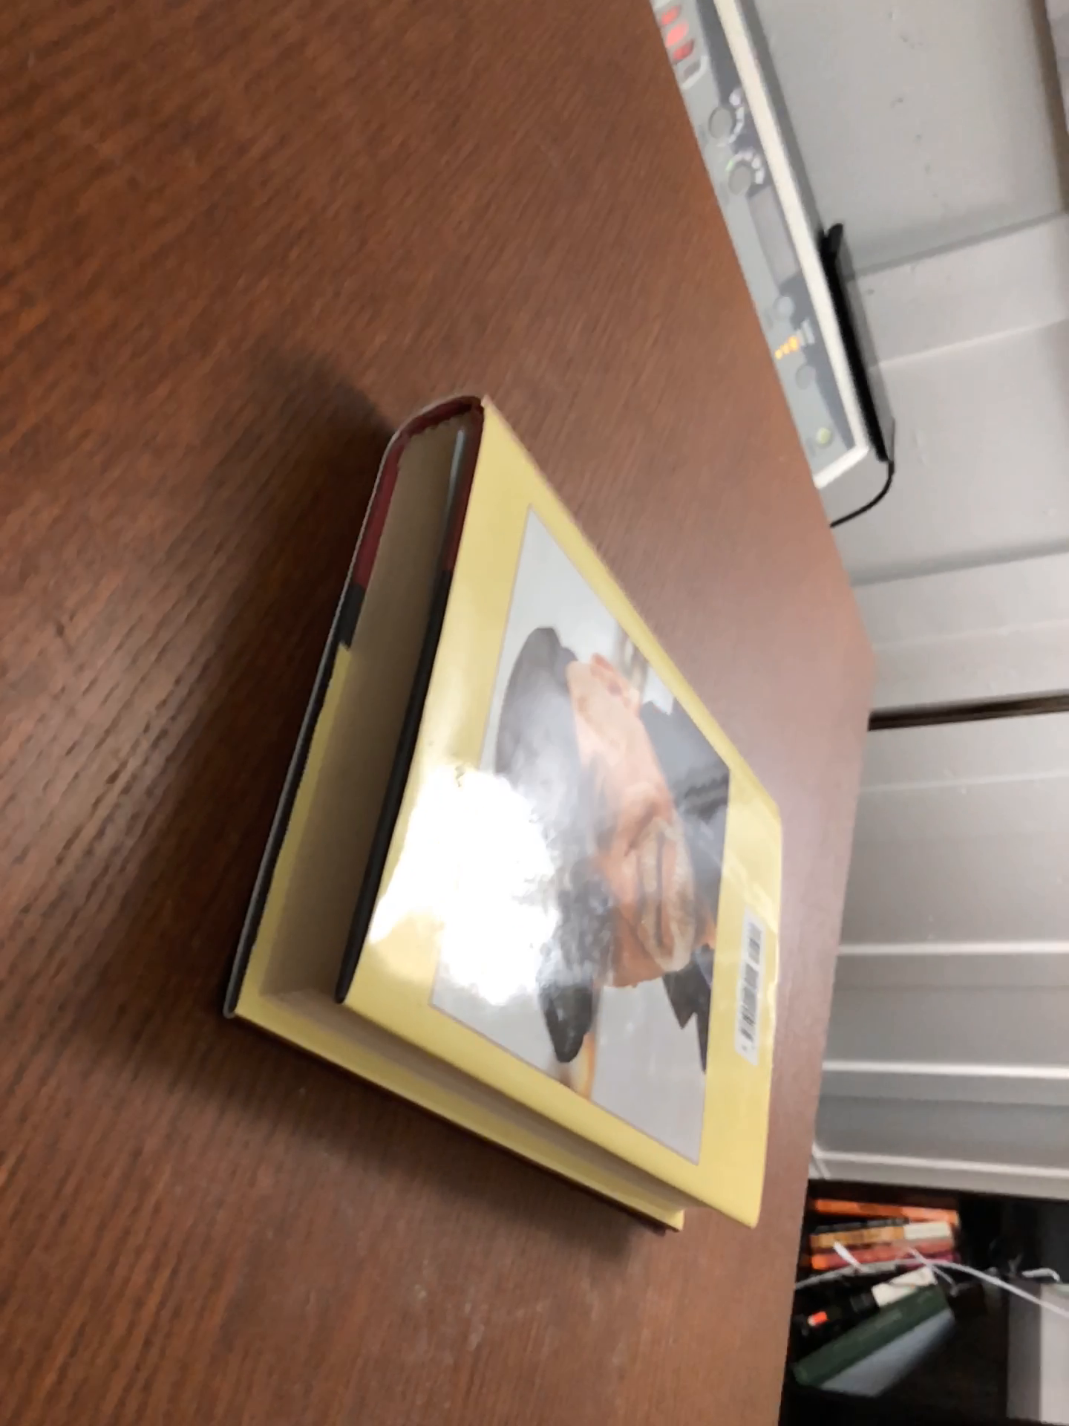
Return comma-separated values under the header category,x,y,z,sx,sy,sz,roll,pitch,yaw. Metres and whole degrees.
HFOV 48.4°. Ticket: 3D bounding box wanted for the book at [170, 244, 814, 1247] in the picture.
category,x,y,z,sx,sy,sz,roll,pitch,yaw
book,0.023,0.029,0.347,0.251,0.030,0.190,46,45,-46
